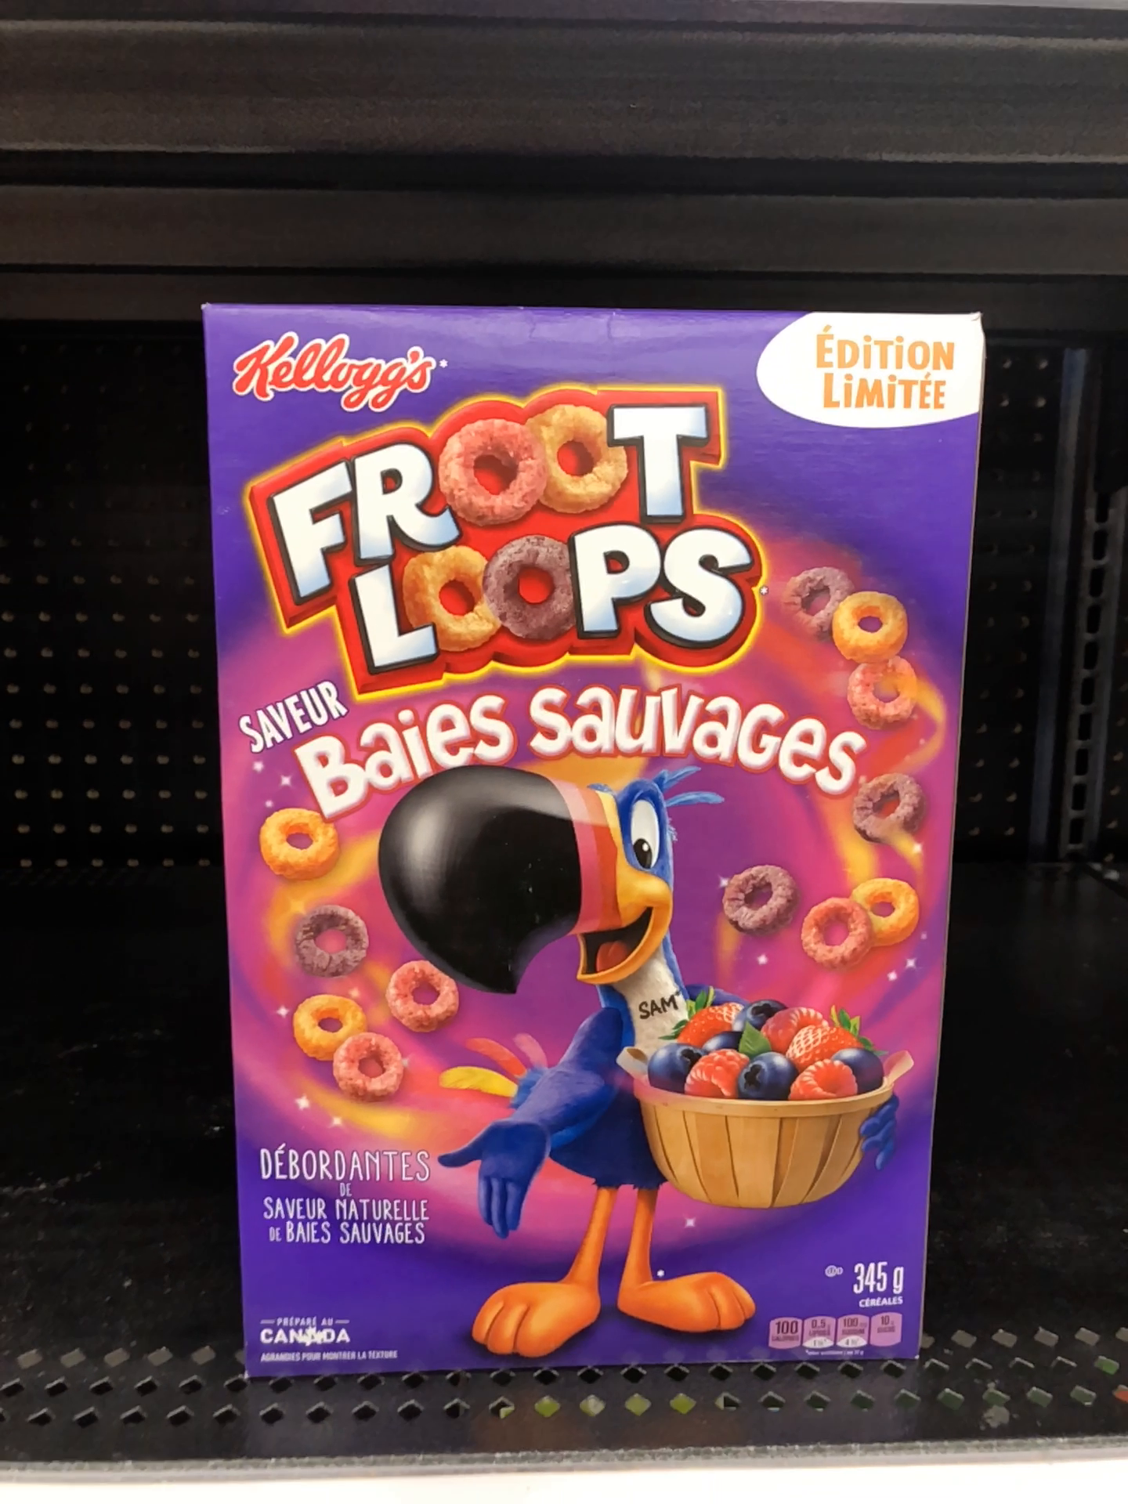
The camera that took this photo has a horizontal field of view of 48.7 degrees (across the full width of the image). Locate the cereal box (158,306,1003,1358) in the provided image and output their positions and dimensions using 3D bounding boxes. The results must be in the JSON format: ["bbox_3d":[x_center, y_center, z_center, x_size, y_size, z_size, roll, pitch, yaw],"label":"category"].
[{"bbox_3d":[0.004,0.027,0.360,0.210,0.289,0.050,0,10,-1],"label":"cereal box"}]
